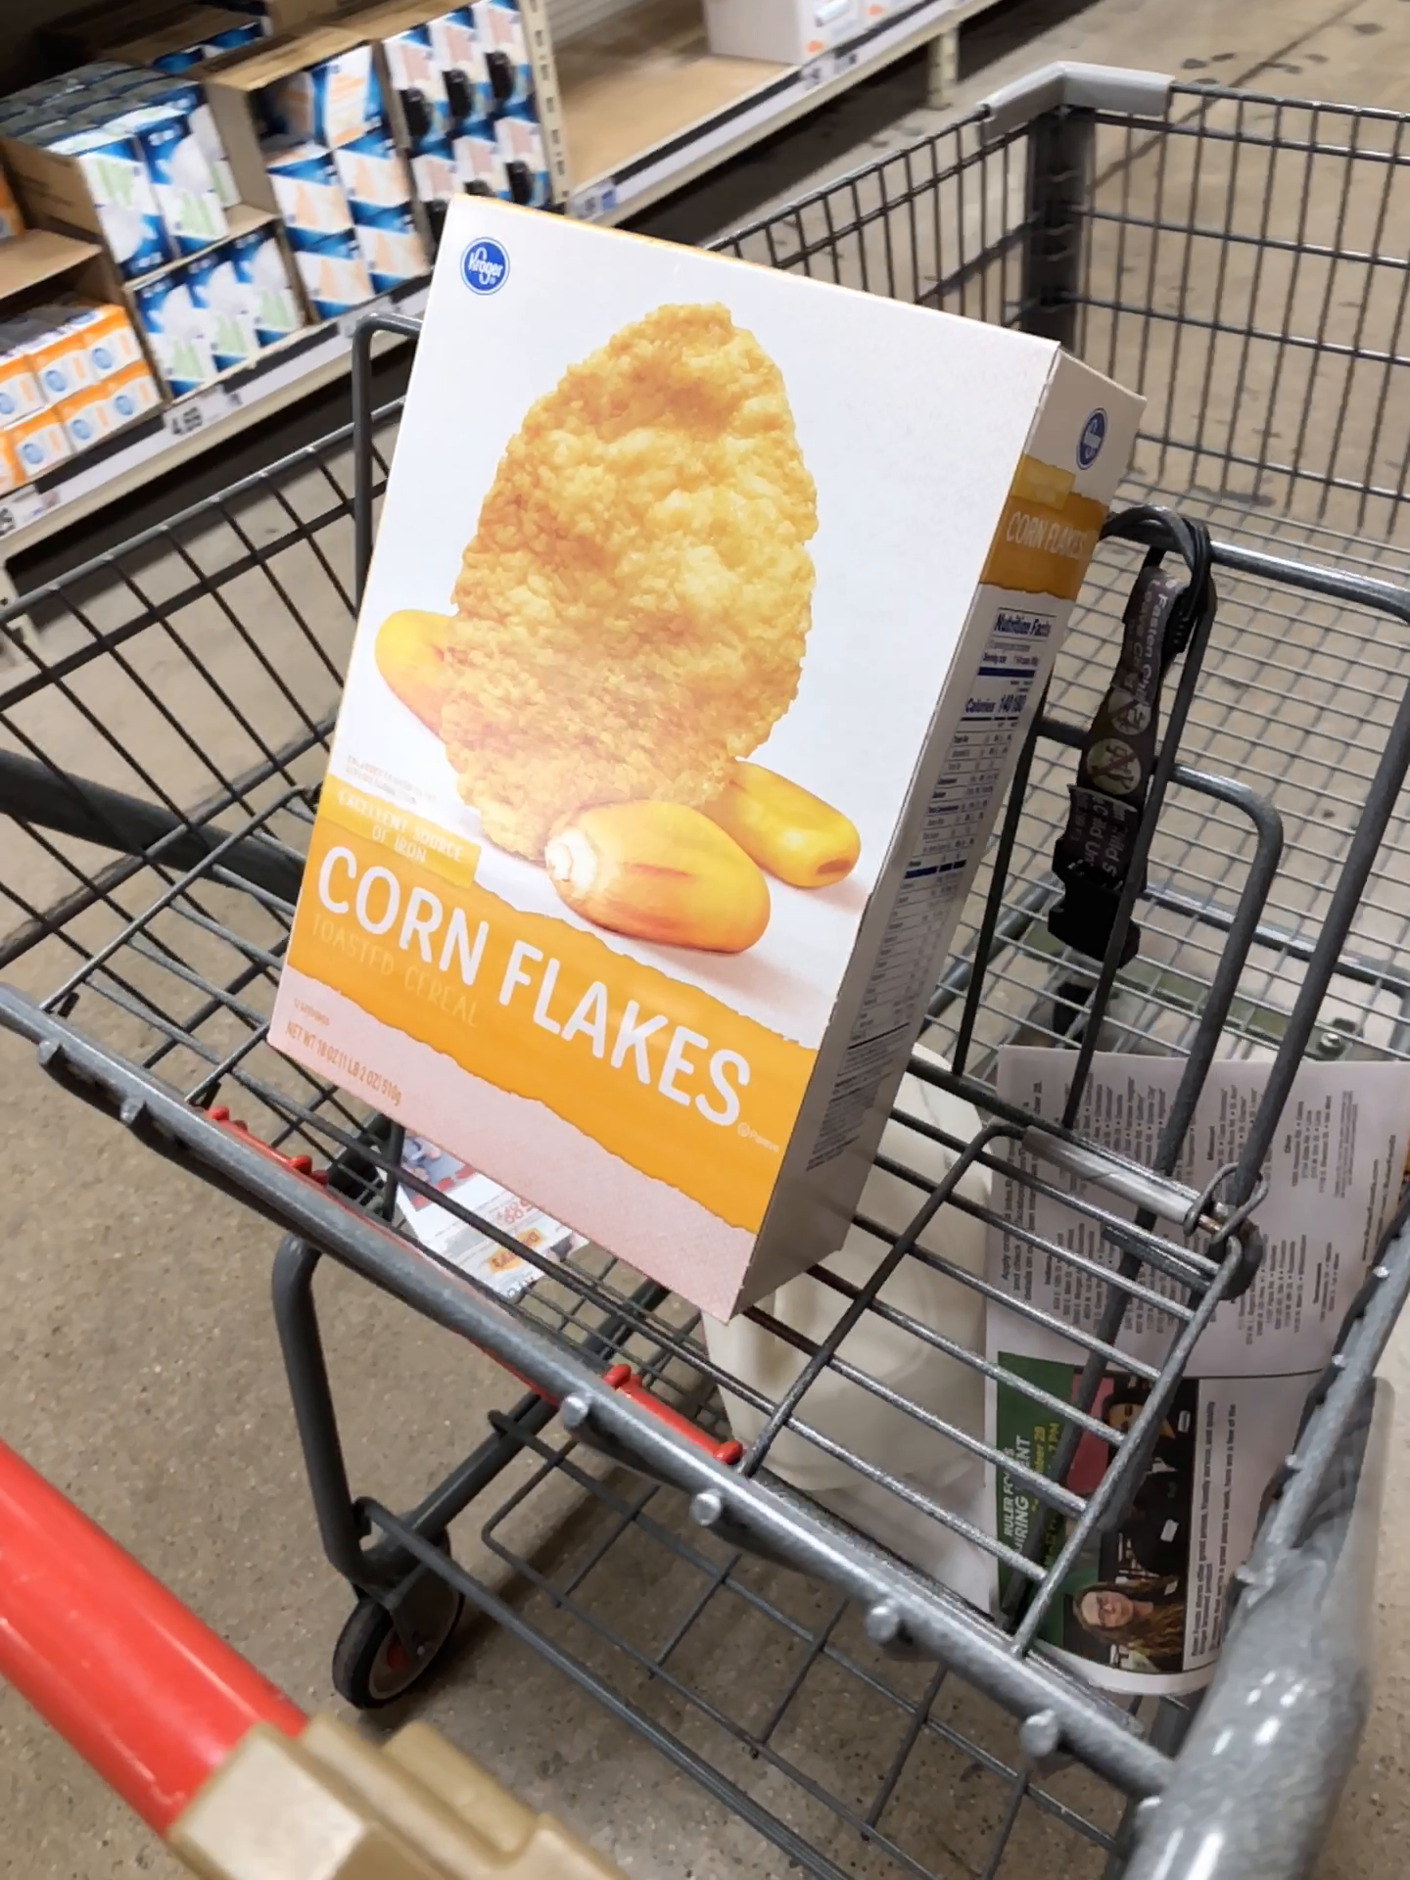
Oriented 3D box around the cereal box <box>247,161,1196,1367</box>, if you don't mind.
[{"bbox_3d":[-0.016,-0.061,0.498,0.230,0.300,0.080,26,21,29],"label":"cereal box"}]
